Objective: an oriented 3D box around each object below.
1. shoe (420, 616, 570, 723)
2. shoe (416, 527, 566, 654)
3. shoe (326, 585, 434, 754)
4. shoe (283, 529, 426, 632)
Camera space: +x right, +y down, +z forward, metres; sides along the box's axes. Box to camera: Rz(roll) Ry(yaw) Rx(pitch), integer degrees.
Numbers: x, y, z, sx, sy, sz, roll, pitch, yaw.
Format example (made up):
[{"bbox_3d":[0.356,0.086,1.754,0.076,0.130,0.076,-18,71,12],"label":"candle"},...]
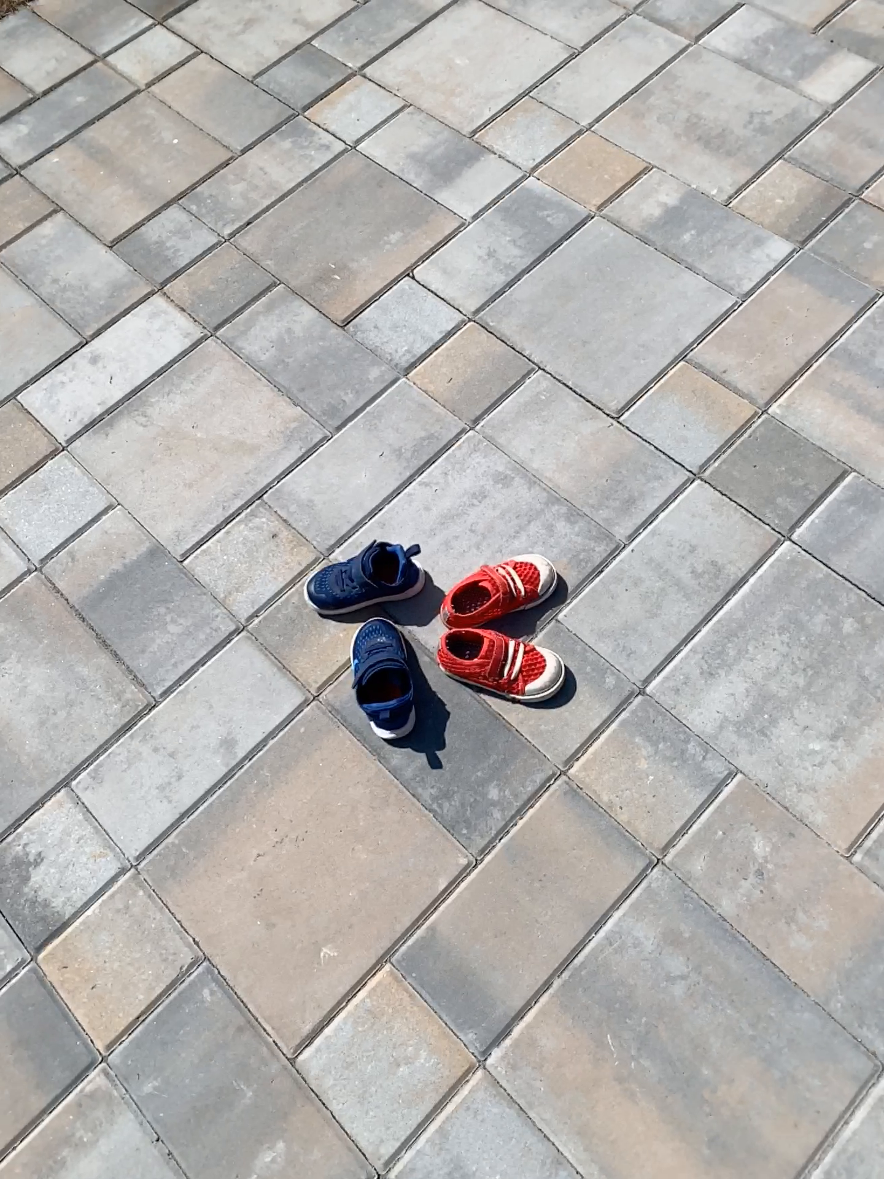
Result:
[{"bbox_3d":[0.068,0.102,1.144,0.170,0.070,0.080,12,65,11],"label":"shoe"},{"bbox_3d":[0.064,0.002,1.166,0.170,0.070,0.080,-24,64,-7],"label":"shoe"},{"bbox_3d":[-0.080,0.102,1.162,0.090,0.090,0.180,-15,63,-2],"label":"shoe"},{"bbox_3d":[-0.115,-0.011,1.197,0.170,0.070,0.080,-12,63,-1],"label":"shoe"}]
